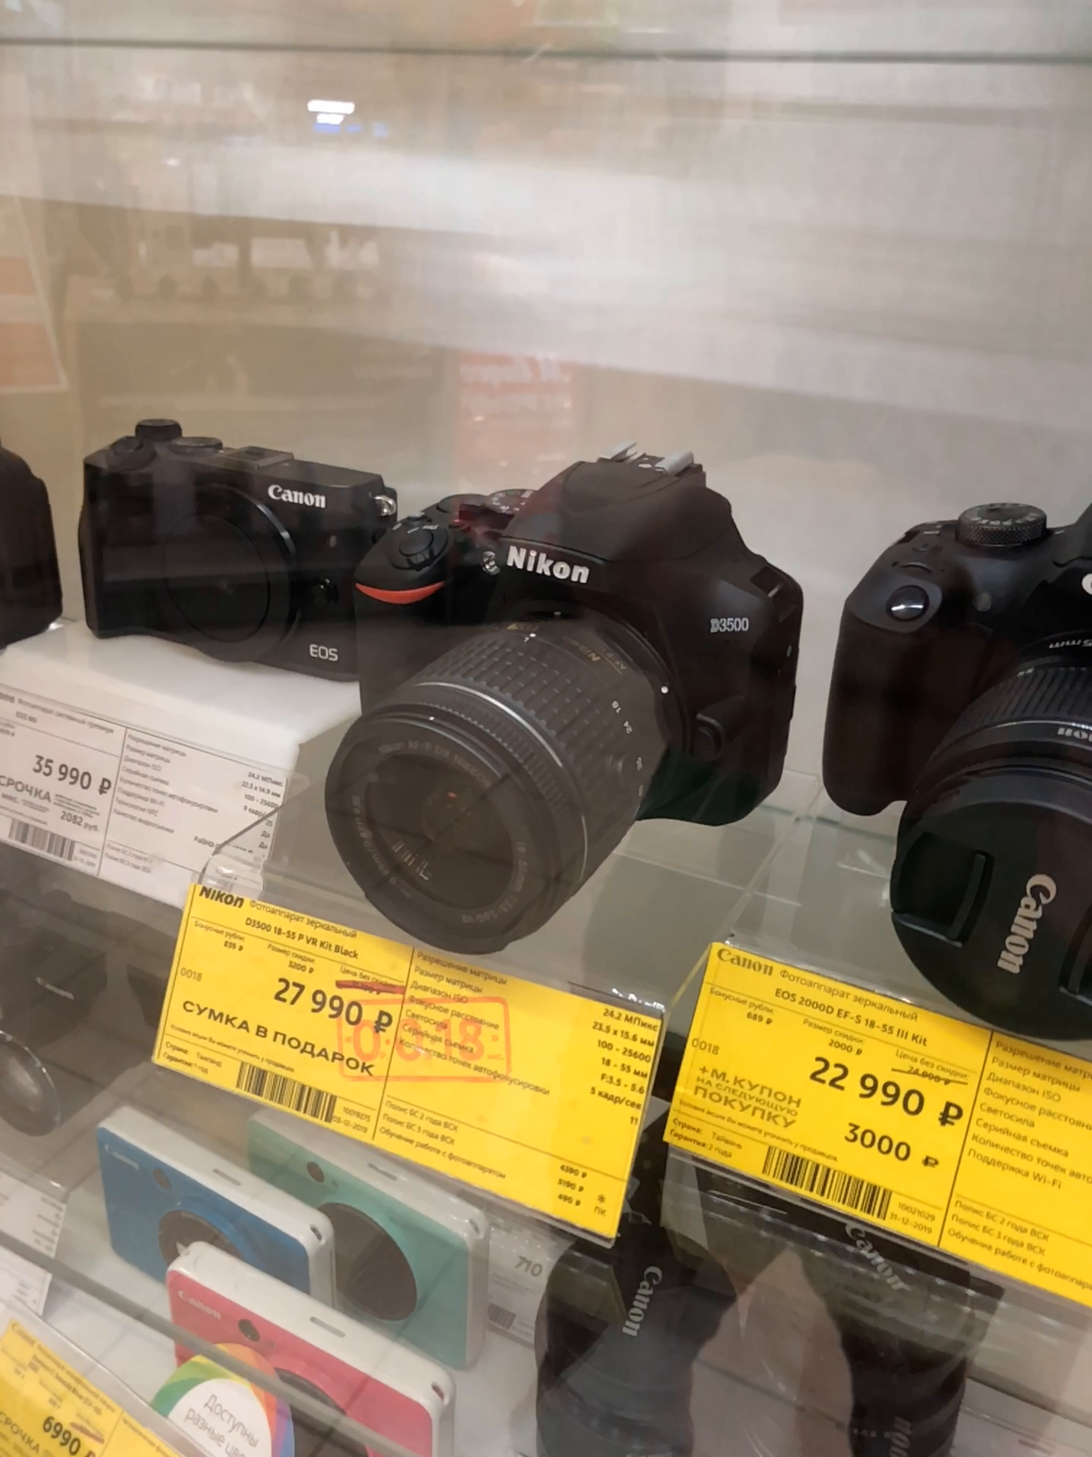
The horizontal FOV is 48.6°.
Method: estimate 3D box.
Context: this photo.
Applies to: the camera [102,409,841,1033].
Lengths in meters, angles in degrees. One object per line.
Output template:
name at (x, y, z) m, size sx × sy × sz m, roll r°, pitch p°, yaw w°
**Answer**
camera at (-0.012, -0.016, 0.303) m, size 0.130 × 0.092 × 0.121 m, roll 14°, pitch 27°, yaw 24°
